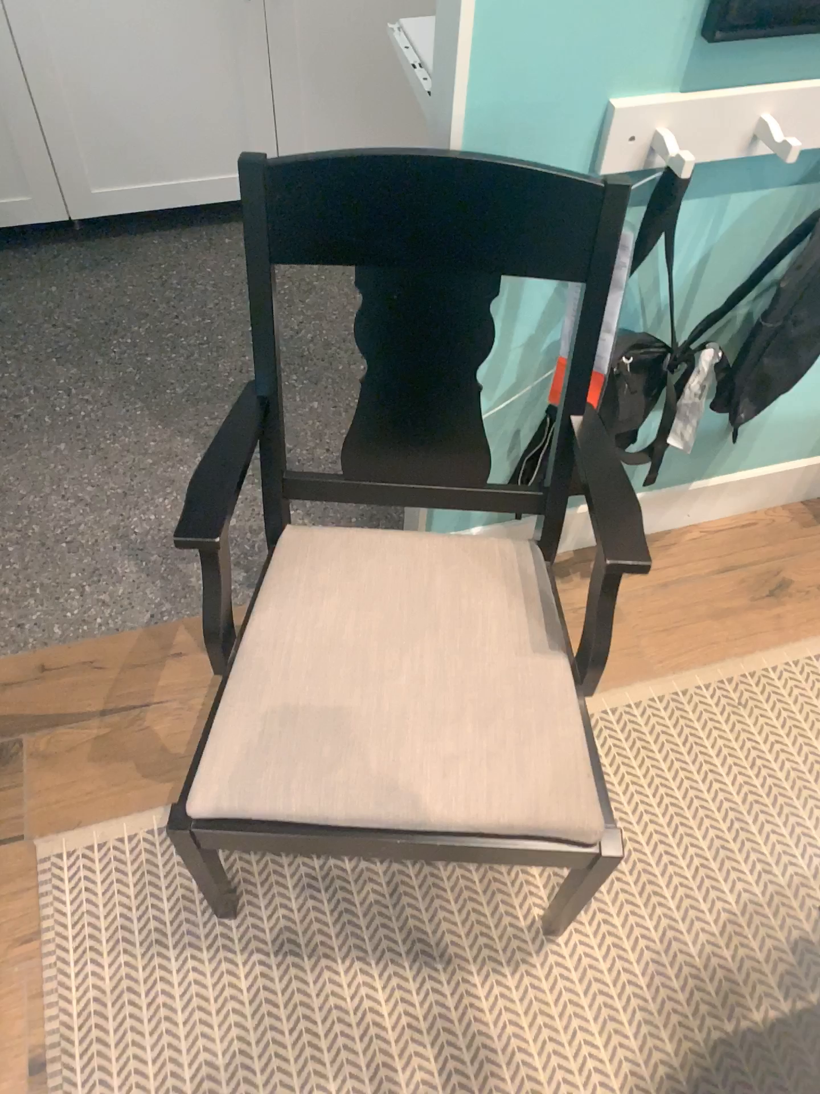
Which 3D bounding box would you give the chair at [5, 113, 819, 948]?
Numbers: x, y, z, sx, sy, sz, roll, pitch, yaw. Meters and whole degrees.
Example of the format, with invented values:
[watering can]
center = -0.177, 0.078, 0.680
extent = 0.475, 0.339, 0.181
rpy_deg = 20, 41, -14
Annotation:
[chair]
center = 0.001, 0.039, 1.212
extent = 0.600, 0.897, 0.803
rpy_deg = 3, 54, 0
